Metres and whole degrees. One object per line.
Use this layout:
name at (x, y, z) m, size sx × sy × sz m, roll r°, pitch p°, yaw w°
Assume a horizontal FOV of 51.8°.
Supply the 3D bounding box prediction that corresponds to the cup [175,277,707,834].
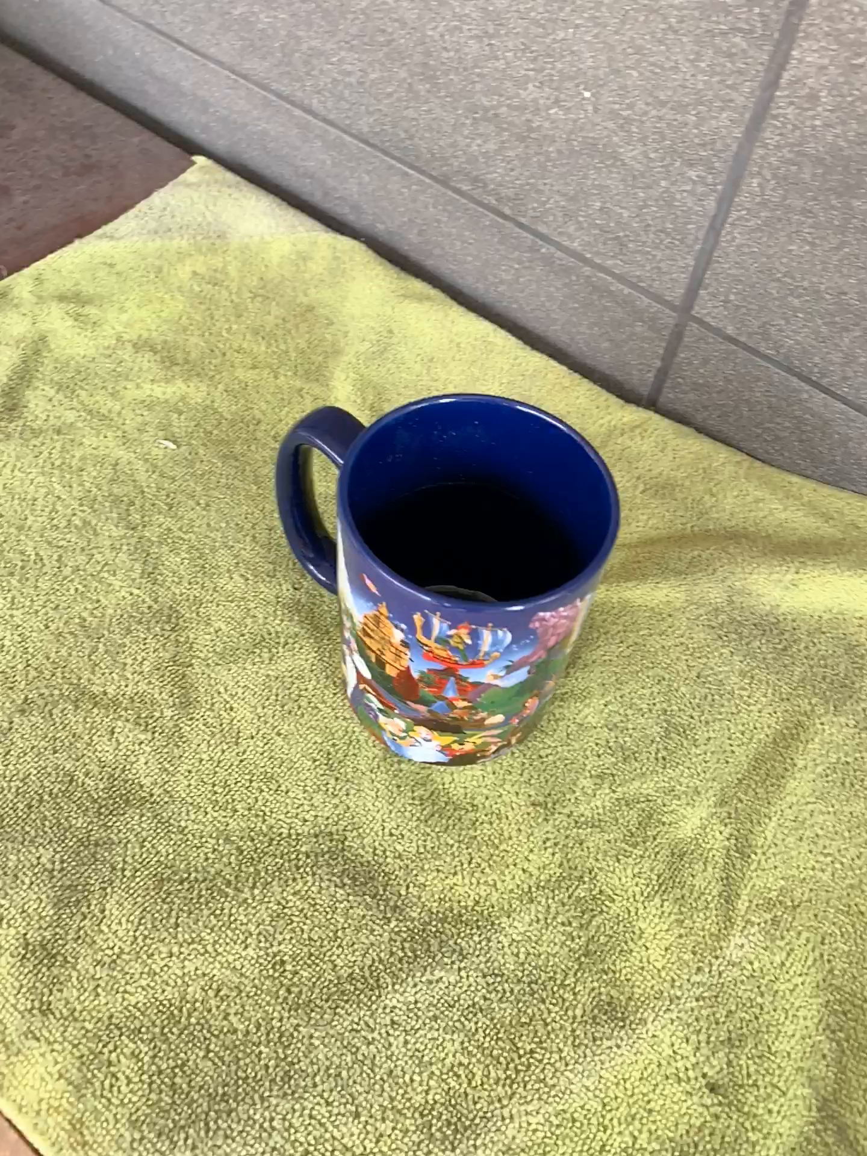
cup at (-0.003, -0.007, 0.306) m, size 0.130 × 0.110 × 0.090 m, roll 39°, pitch 60°, yaw 20°
